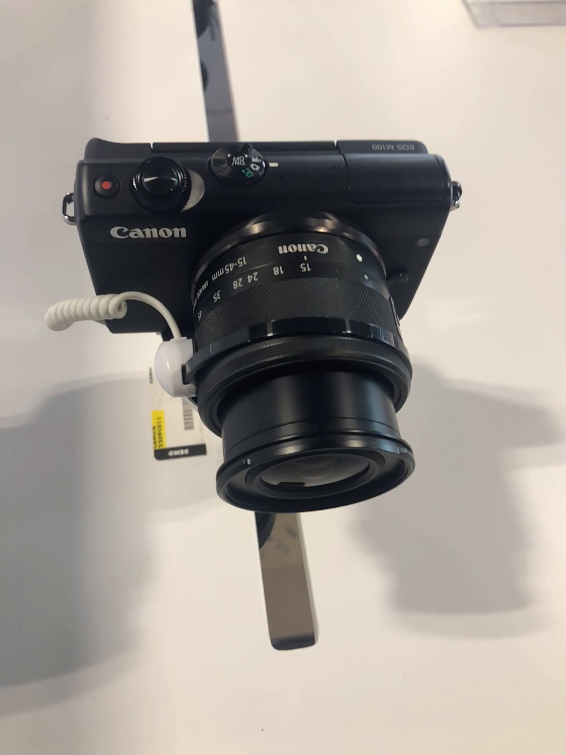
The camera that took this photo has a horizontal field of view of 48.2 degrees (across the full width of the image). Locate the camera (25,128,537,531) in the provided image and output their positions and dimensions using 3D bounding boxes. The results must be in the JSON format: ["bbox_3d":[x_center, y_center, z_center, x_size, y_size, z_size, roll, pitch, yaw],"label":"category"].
[{"bbox_3d":[-0.005,-0.013,0.188,0.110,0.072,0.091,-3,61,-6],"label":"camera"}]
